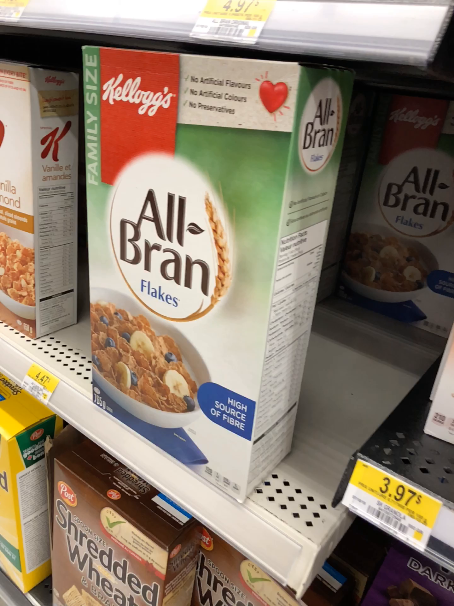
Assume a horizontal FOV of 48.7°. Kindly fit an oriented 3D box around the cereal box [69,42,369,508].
[{"bbox_3d":[-0.031,-0.029,0.418,0.211,0.318,0.080,22,28,31],"label":"cereal box"}]
